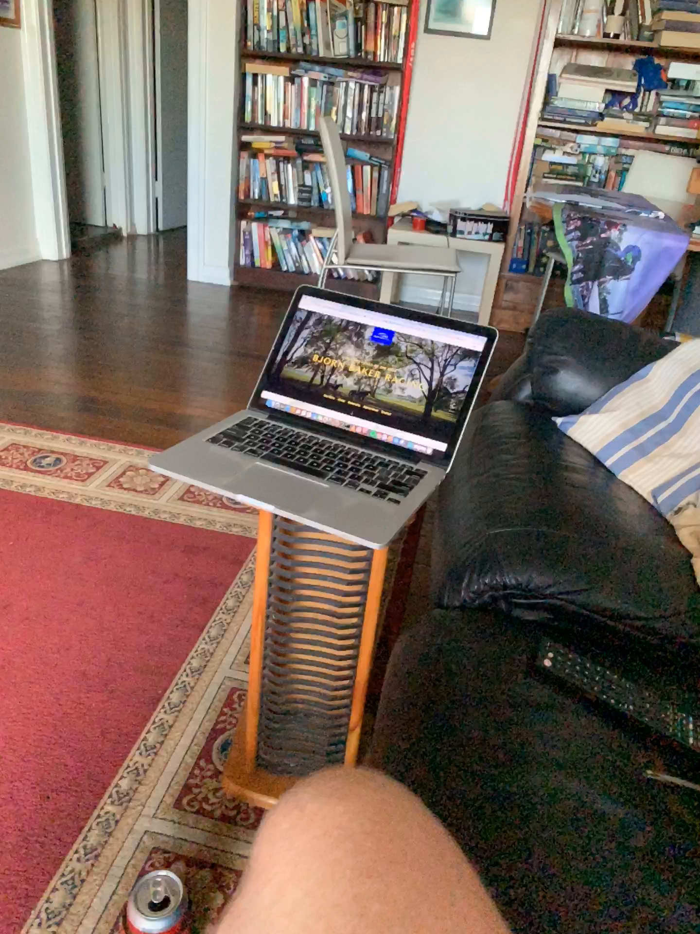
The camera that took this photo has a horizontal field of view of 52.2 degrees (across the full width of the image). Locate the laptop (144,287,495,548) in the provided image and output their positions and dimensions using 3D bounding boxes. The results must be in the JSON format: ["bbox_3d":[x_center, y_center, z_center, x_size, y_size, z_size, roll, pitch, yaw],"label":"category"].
[{"bbox_3d":[-0.024,-0.093,0.907,0.312,0.161,0.341,18,27,21],"label":"laptop"}]
